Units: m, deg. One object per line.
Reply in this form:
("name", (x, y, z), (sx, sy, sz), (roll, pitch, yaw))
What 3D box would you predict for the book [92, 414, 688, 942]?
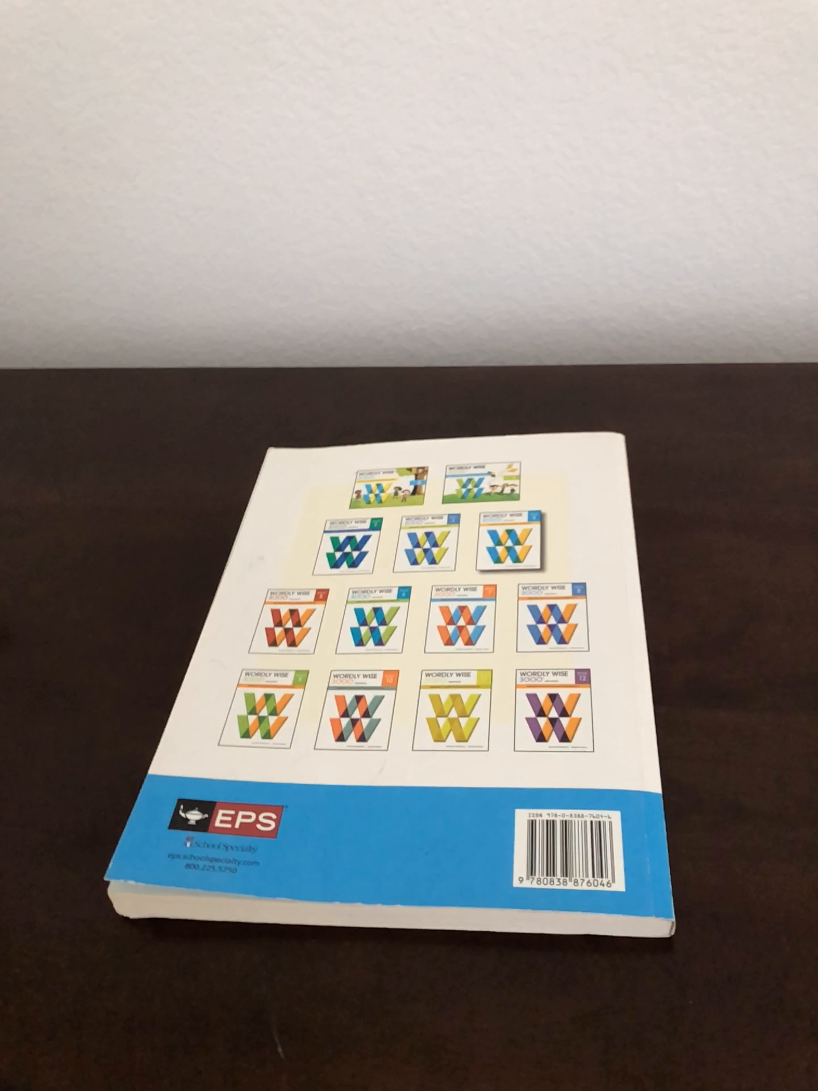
("book", (0.003, 0.040, 0.433), (0.220, 0.031, 0.272), (-2, 45, 10))
